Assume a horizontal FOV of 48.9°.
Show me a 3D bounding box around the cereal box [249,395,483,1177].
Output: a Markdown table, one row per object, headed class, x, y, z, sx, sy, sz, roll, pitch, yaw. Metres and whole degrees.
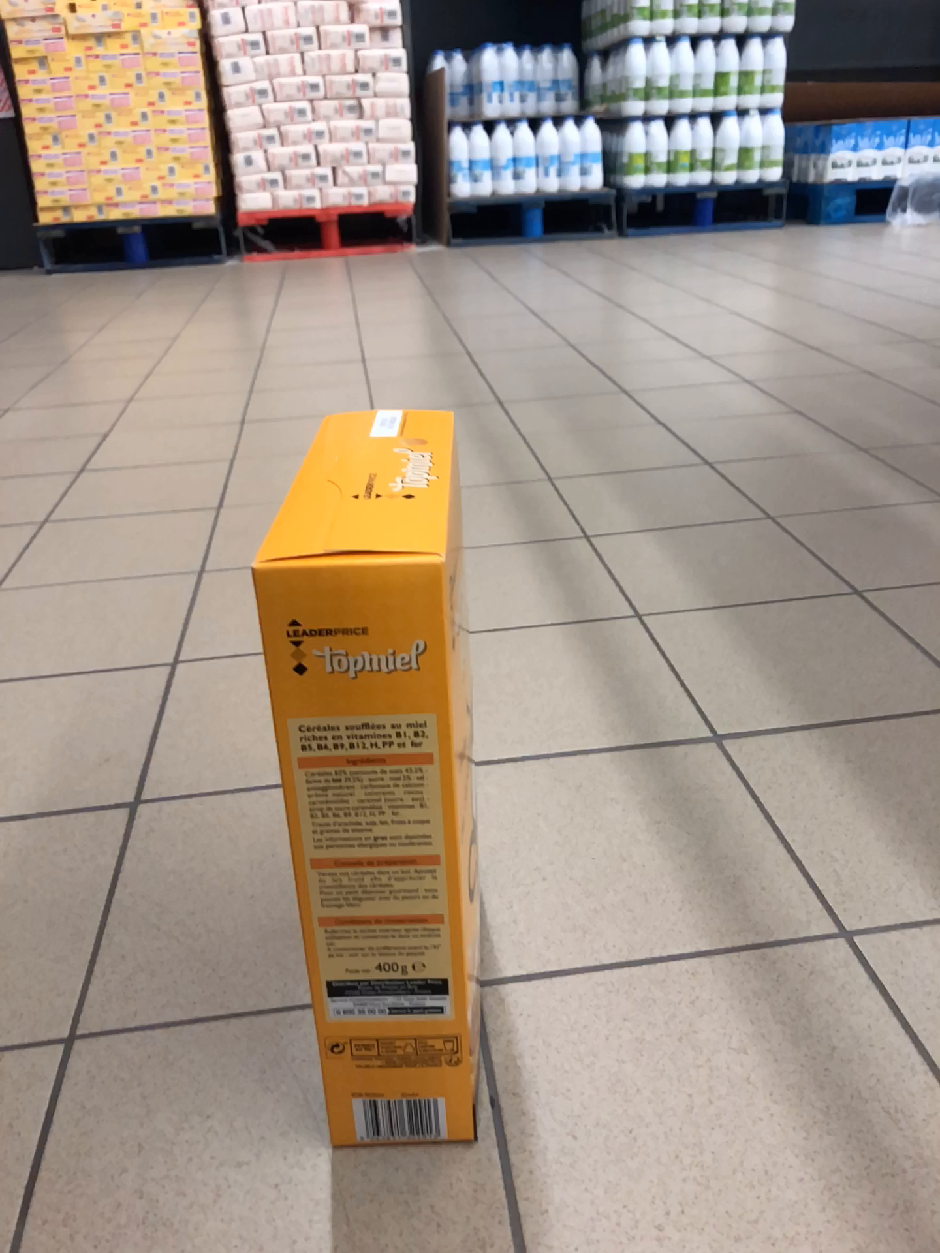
| class | x | y | z | sx | sy | sz | roll | pitch | yaw |
| --- | --- | --- | --- | --- | --- | --- | --- | --- | --- |
| cereal box | -0.029 | 0.055 | 0.459 | 0.060 | 0.269 | 0.211 | -2 | 24 | 2 |
